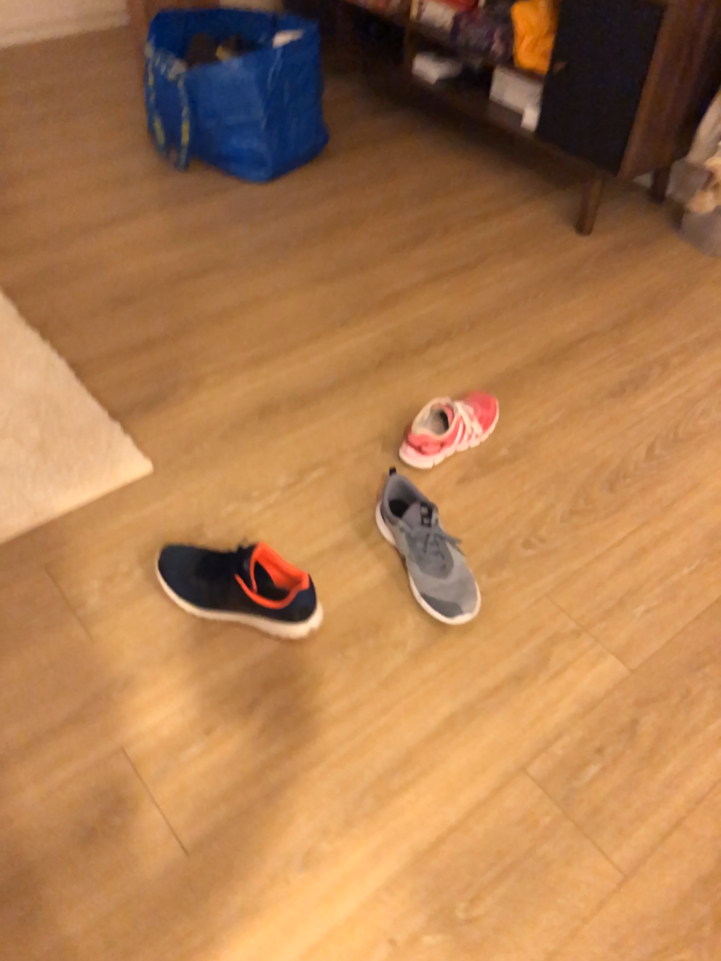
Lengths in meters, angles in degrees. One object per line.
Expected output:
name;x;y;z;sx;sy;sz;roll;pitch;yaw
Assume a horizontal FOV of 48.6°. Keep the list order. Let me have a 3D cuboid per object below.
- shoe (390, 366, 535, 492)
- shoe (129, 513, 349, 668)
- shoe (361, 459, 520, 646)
shoe;0.206;-0.110;1.610;0.281;0.089;0.130;-33;55;-31
shoe;-0.193;0.175;1.300;0.320;0.099;0.131;16;46;12
shoe;0.126;0.113;1.364;0.130;0.080;0.321;-16;48;-18
